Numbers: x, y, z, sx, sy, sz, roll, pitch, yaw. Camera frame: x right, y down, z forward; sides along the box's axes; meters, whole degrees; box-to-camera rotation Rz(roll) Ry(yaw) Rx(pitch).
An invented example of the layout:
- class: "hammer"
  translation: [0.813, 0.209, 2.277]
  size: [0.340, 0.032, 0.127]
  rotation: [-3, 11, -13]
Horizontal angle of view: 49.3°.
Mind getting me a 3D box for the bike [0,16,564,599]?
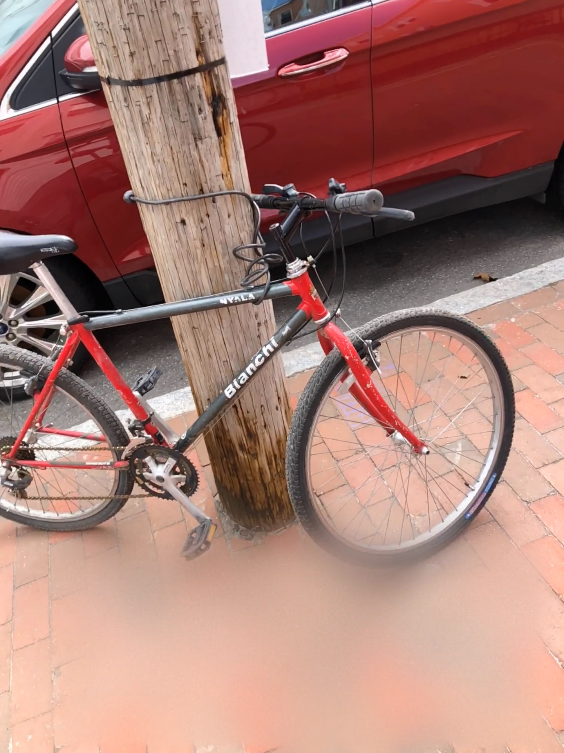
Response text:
- class: "bike"
  translation: [-0.242, -0.084, 1.477]
  size: [1.525, 0.983, 0.584]
  rotation: [-7, 36, 8]
